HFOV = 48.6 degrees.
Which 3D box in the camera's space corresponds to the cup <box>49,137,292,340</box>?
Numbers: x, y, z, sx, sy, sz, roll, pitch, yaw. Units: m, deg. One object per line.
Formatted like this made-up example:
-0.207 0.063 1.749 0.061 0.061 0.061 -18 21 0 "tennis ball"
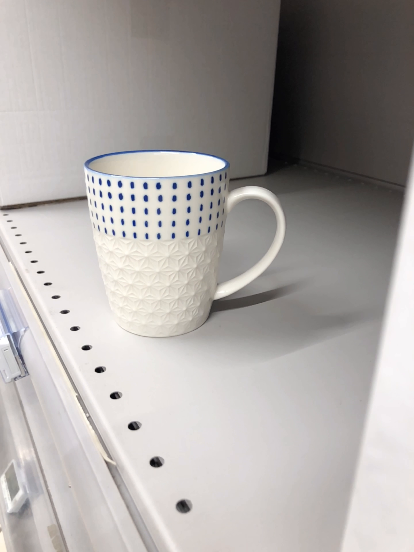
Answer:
-0.021 -0.030 0.289 0.119 0.096 0.097 -3 24 -5 "cup"
